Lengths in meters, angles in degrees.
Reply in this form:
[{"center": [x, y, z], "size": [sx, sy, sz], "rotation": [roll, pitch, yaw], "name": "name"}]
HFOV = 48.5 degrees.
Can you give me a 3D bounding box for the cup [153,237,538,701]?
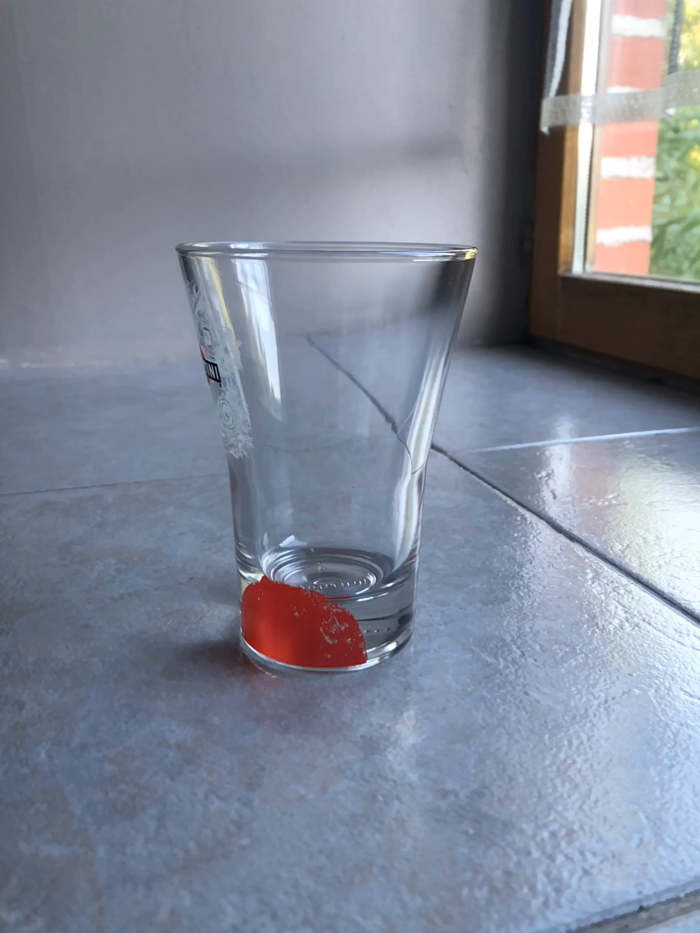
[{"center": [-0.007, -0.010, 0.245], "size": [0.092, 0.116, 0.096], "rotation": [-1, 18, 0], "name": "cup"}]
